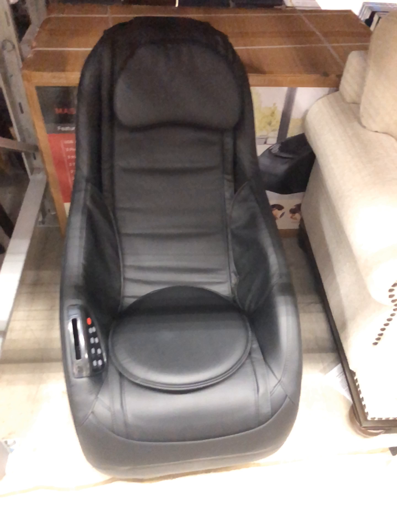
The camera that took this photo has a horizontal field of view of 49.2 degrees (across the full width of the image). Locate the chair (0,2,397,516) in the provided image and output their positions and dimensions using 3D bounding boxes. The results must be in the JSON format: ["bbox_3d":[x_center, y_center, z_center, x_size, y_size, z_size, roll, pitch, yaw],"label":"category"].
[{"bbox_3d":[-0.071,0.005,0.964,0.650,0.849,0.701,-5,47,-8],"label":"chair"}]
